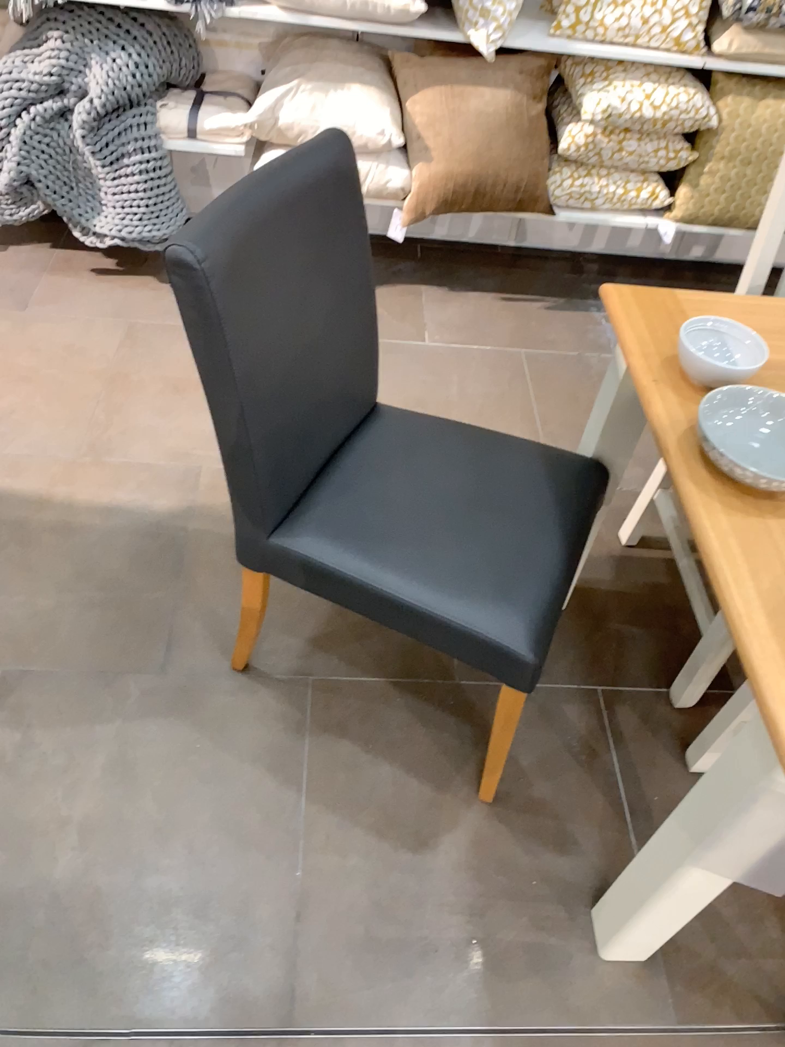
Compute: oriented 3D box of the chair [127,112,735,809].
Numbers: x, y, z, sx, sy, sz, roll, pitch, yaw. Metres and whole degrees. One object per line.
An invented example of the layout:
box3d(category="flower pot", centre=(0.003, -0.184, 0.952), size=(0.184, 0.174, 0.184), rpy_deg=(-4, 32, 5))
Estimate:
box3d(category="chair", centre=(0.036, -0.063, 1.342), size=(0.650, 0.906, 0.479), rpy_deg=(22, 48, 13))
